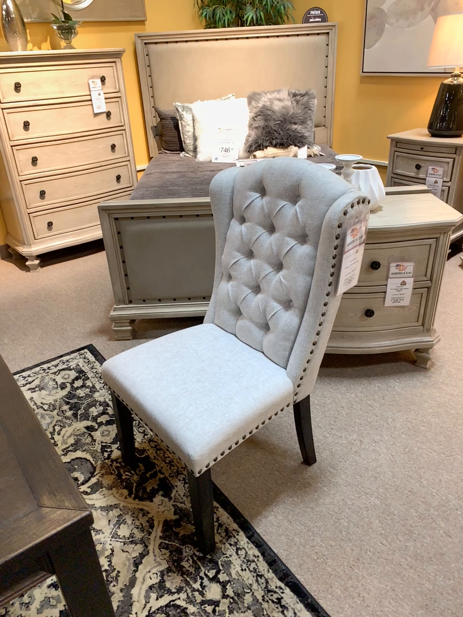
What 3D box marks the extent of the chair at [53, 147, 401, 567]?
[{"bbox_3d":[0.009,0.081,1.510,0.742,0.973,0.589,-23,34,-32],"label":"chair"}]
